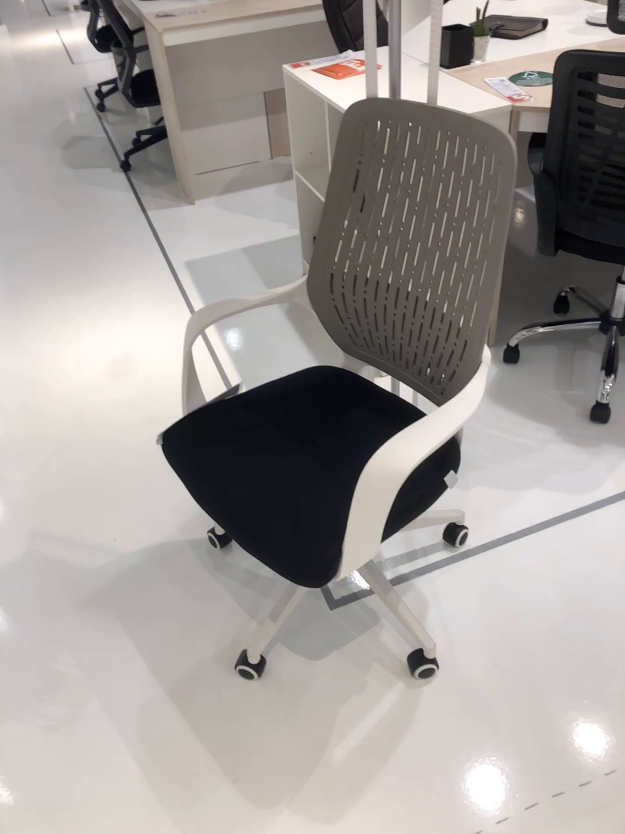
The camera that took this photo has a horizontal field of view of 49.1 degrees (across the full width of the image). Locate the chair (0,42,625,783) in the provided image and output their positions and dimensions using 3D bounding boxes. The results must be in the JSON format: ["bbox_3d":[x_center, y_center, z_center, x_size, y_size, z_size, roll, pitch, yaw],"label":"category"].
[{"bbox_3d":[0.023,-0.024,1.289,0.672,1.002,0.693,-32,48,-26],"label":"chair"}]
